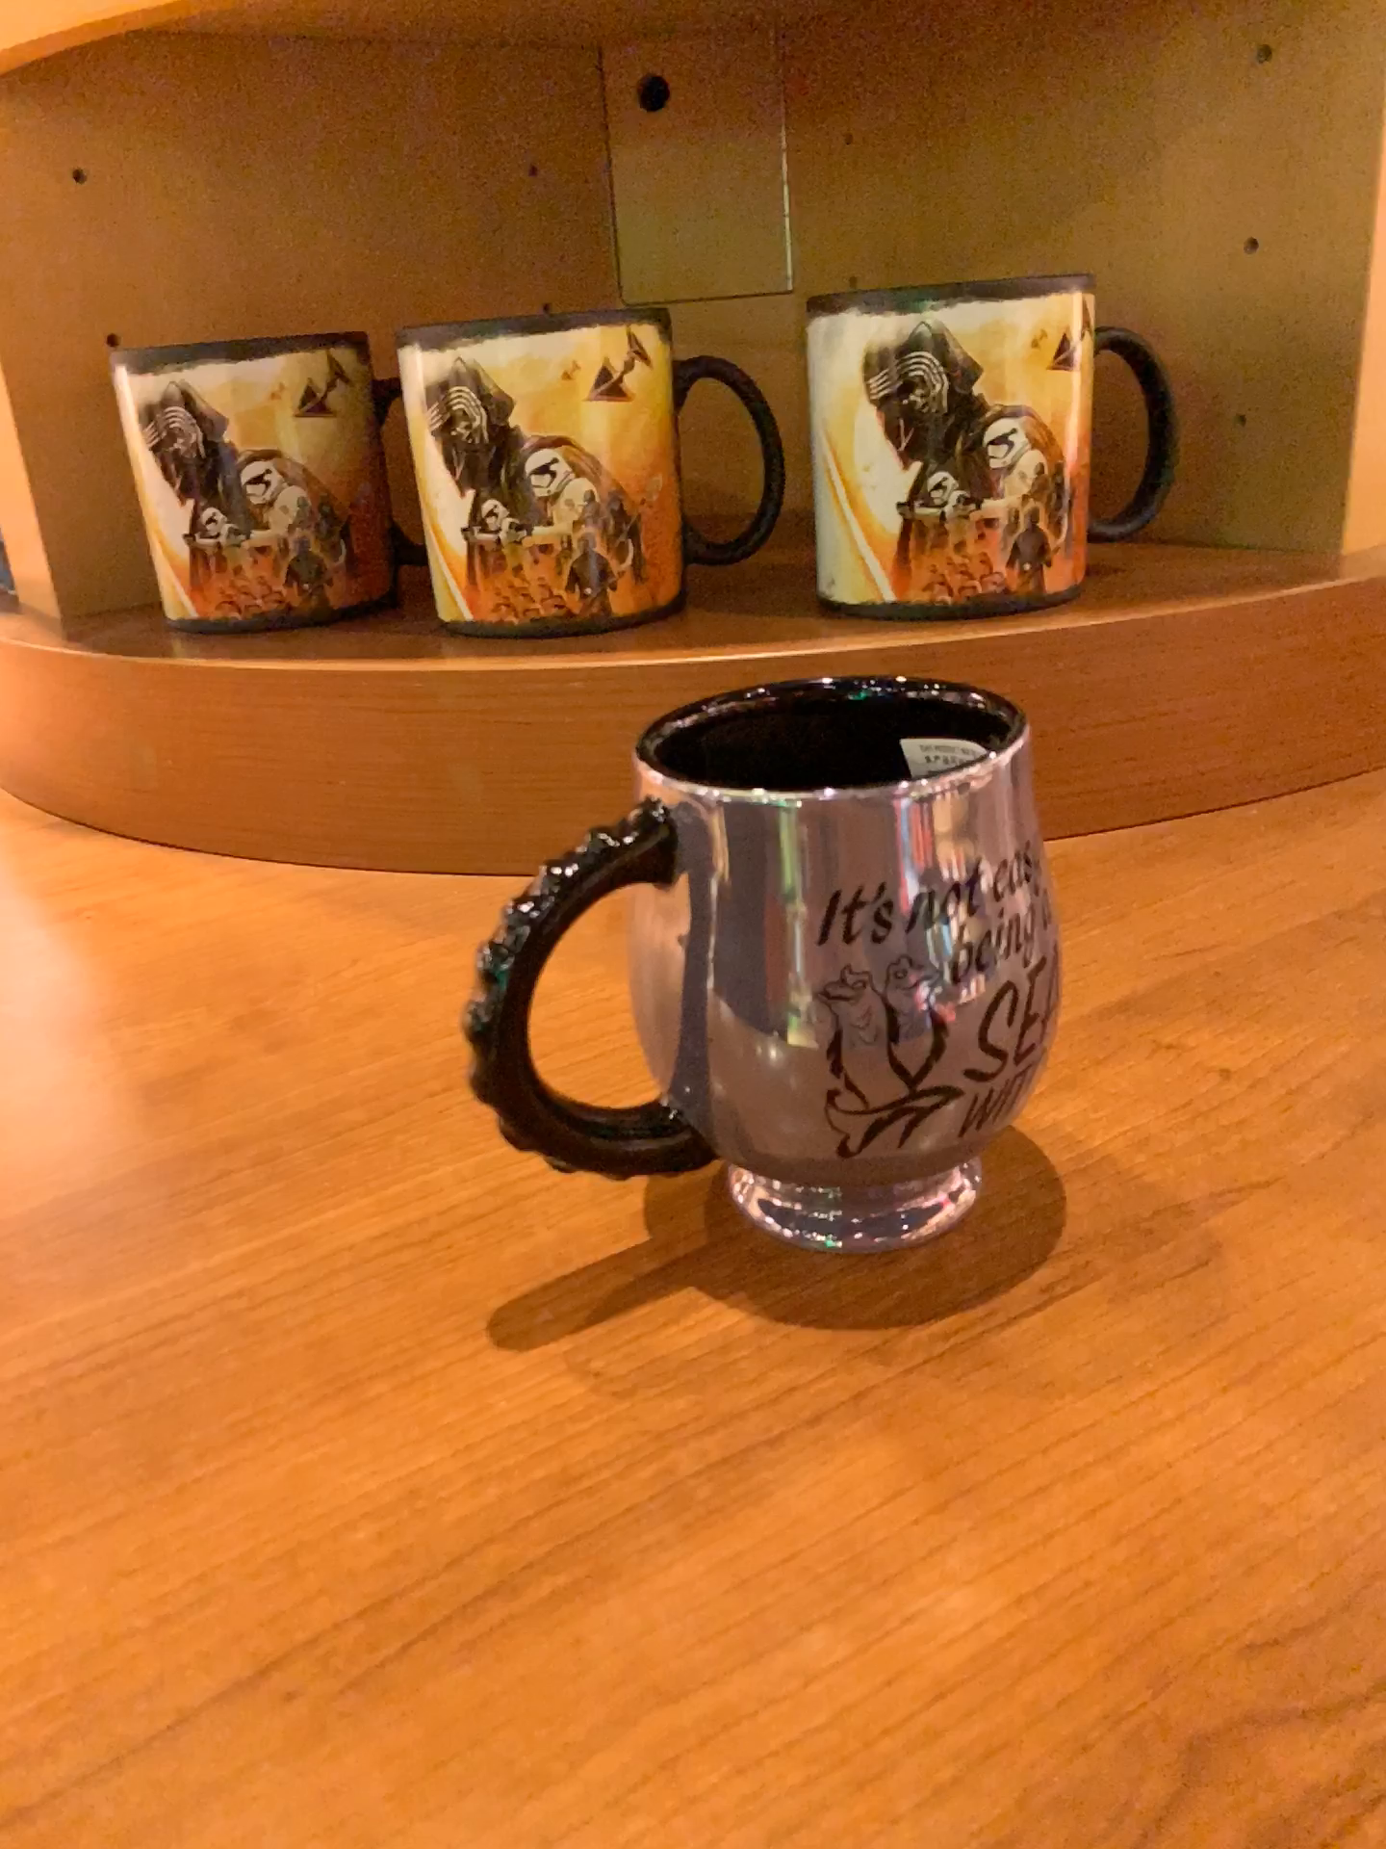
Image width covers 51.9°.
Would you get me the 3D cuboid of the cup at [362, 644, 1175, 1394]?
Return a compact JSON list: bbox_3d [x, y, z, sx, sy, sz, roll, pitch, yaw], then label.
[{"bbox_3d":[0.016,0.006,0.282,0.125,0.089,0.087,-18,26,-28],"label":"cup"}]
